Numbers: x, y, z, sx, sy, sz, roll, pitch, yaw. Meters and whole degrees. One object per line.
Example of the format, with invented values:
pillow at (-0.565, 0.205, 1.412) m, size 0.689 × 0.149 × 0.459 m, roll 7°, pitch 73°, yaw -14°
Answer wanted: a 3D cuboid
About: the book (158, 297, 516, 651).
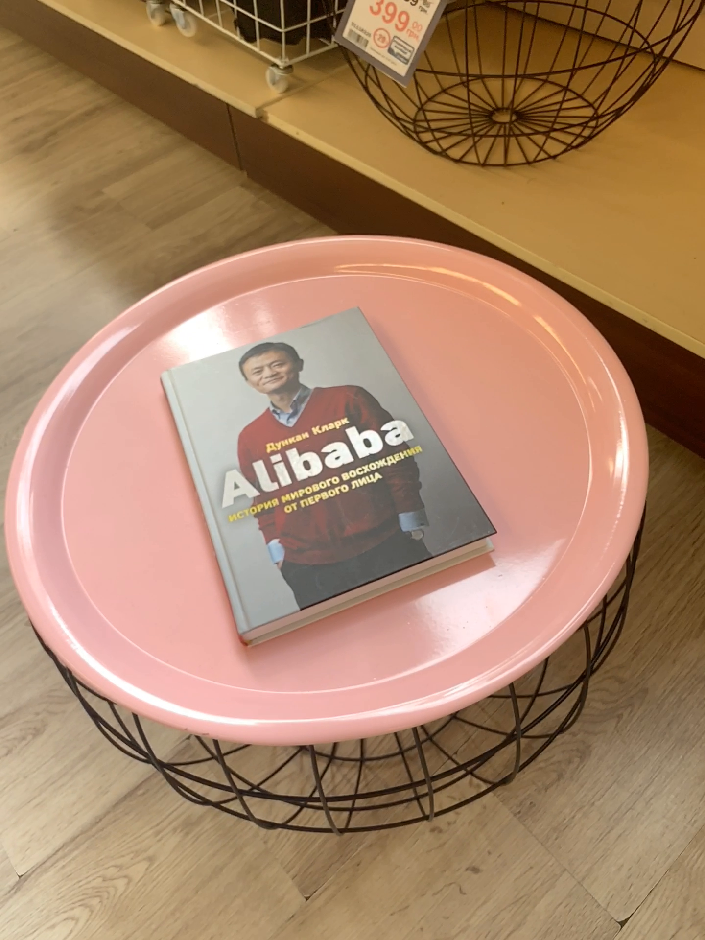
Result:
book at (-0.024, -0.015, 0.516) m, size 0.180 × 0.026 × 0.241 m, roll -20°, pitch 53°, yaw -8°
